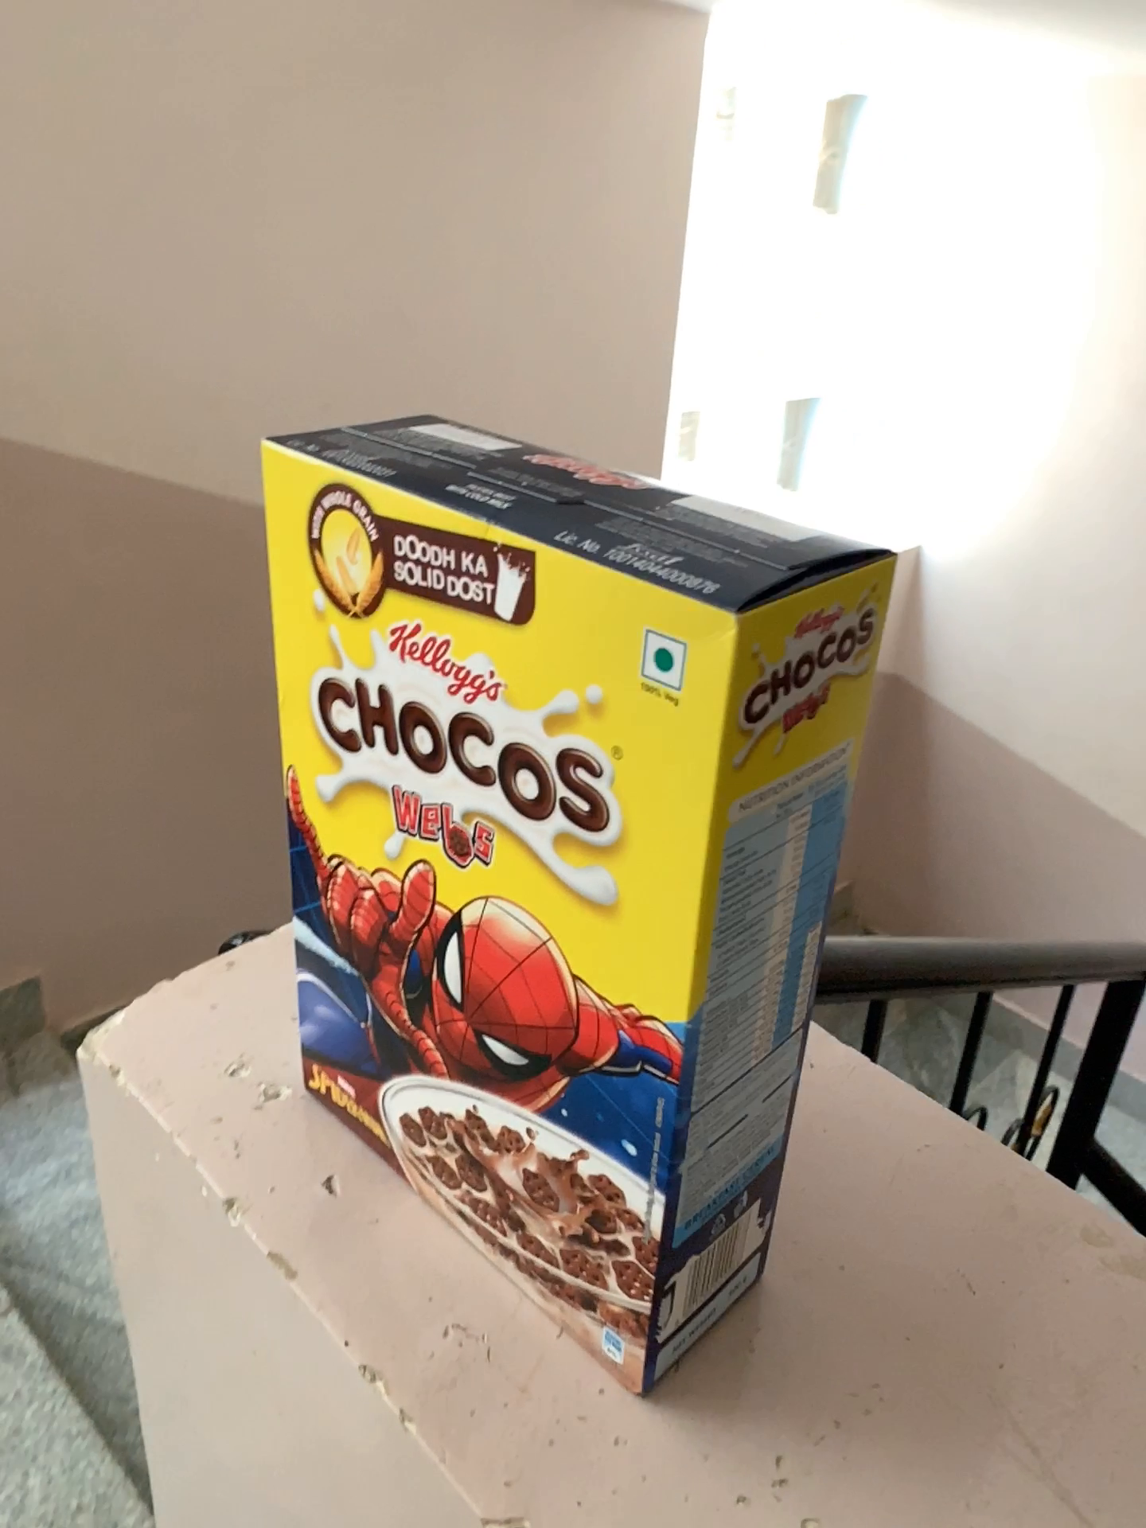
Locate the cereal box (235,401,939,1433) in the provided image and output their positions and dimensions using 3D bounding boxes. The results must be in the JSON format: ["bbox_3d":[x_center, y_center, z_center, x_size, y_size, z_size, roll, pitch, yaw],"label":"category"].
[{"bbox_3d":[-0.013,0.036,0.363,0.070,0.248,0.191,-22,36,-39],"label":"cereal box"}]
